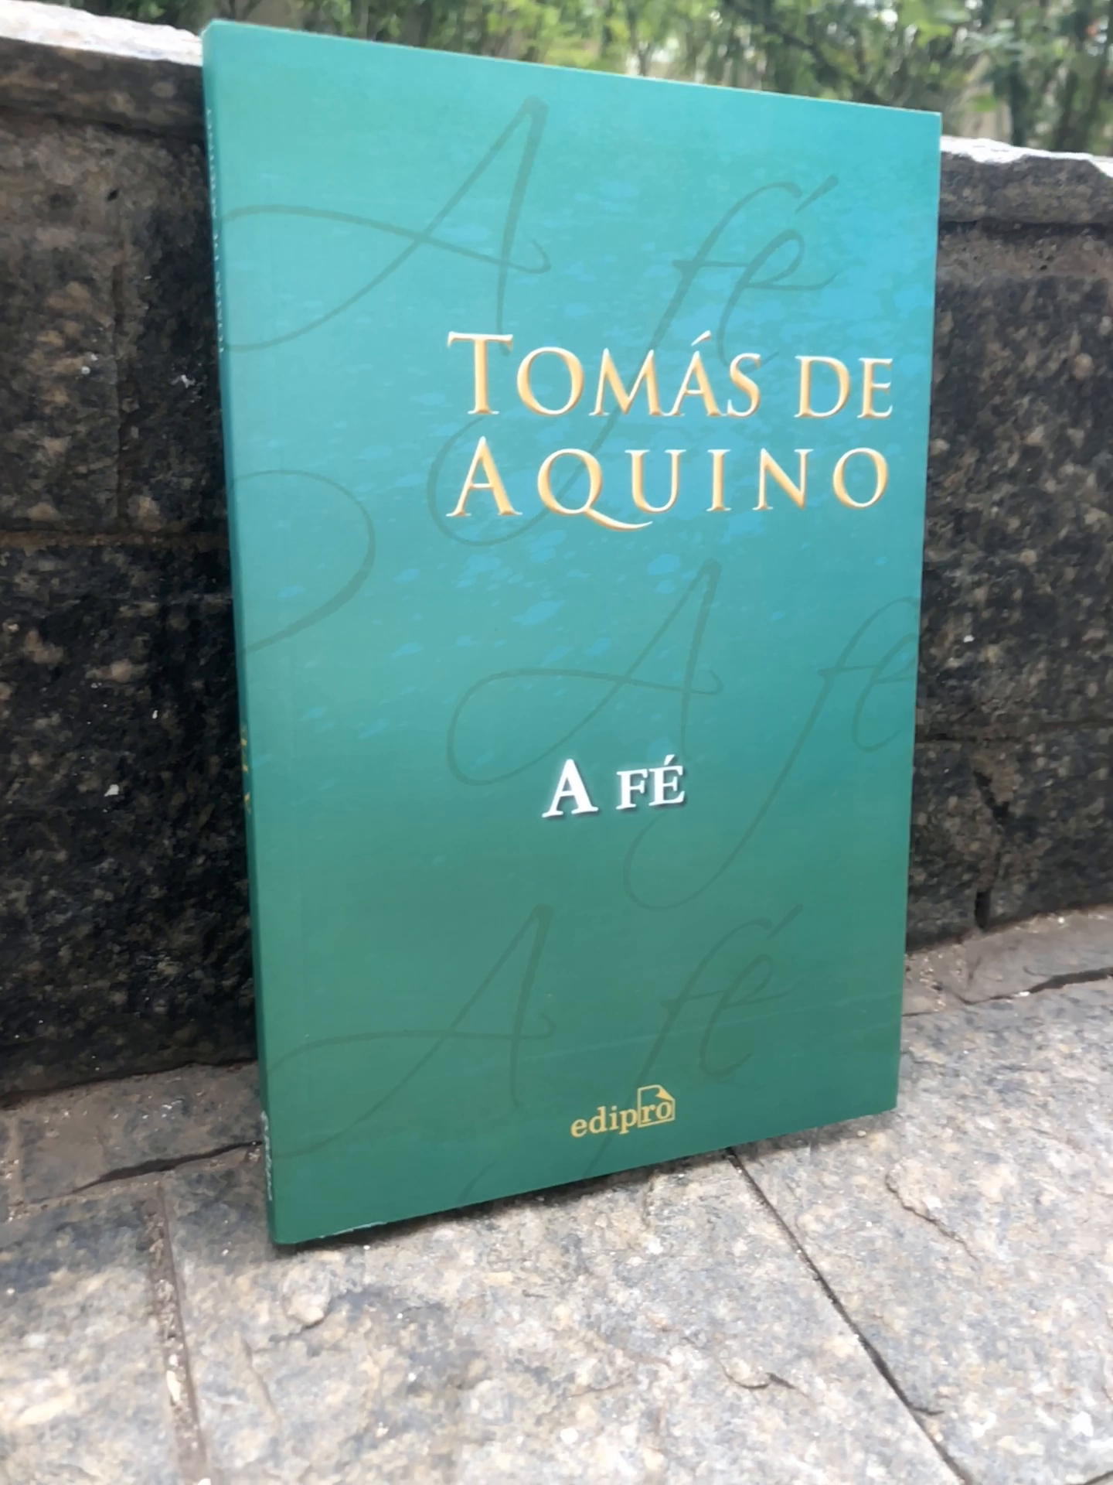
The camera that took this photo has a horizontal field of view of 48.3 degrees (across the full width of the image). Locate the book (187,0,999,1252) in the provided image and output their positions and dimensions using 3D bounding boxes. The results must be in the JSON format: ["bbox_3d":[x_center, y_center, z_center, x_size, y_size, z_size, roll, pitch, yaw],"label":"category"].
[{"bbox_3d":[0.011,-0.017,0.230,0.142,0.199,0.020,-4,12,-22],"label":"book"}]
